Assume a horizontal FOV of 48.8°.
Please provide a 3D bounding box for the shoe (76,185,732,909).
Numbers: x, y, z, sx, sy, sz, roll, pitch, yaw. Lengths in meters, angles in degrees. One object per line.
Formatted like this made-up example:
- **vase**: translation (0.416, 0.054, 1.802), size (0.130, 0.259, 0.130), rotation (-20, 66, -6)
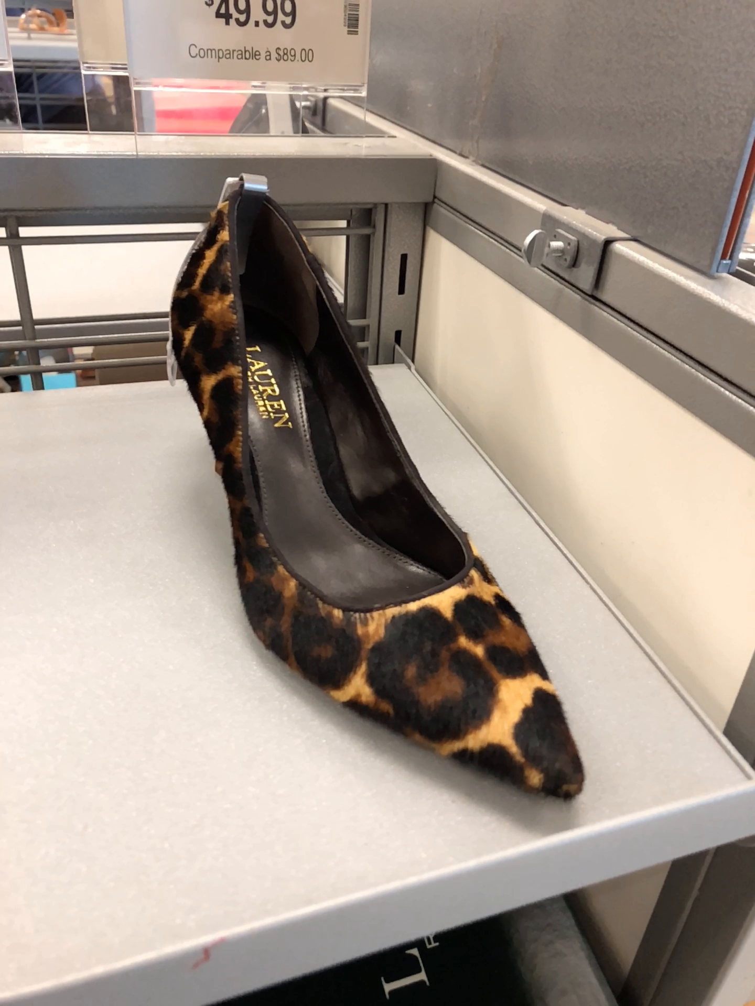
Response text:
- **shoe**: translation (-0.025, -0.020, 0.312), size (0.090, 0.129, 0.272), rotation (-14, 37, -28)
